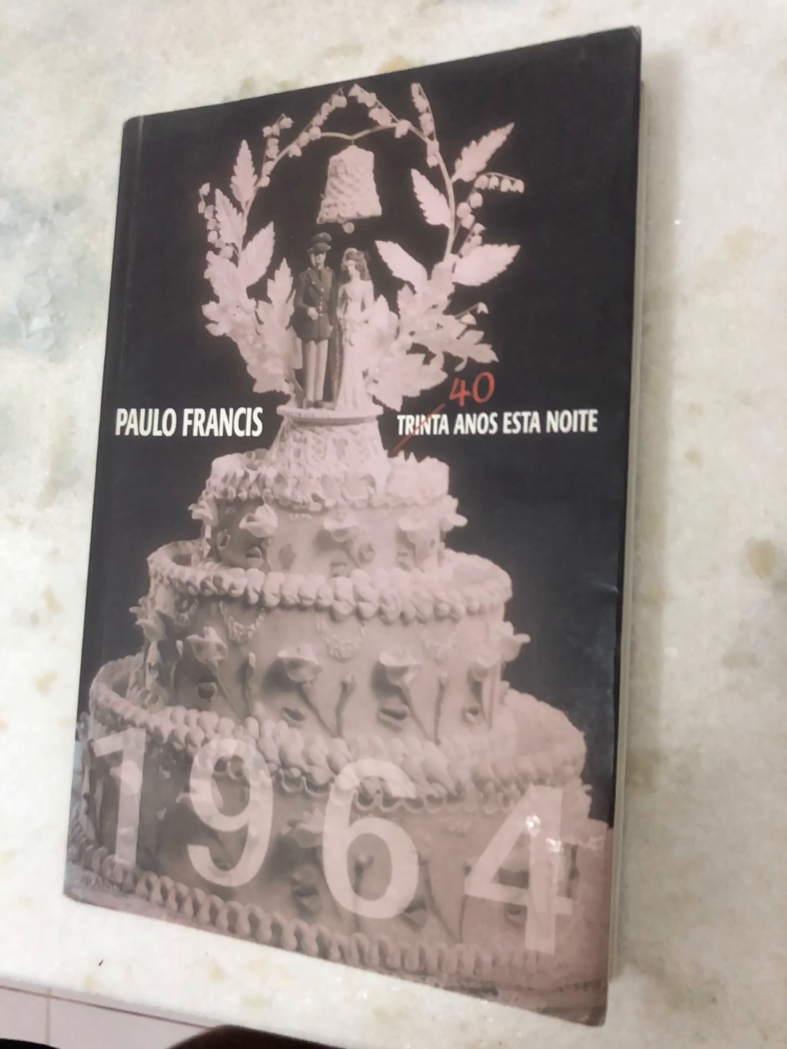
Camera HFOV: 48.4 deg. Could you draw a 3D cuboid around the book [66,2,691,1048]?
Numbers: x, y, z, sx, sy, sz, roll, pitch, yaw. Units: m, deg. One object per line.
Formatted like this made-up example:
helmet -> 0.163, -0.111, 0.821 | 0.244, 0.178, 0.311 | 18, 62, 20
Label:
book -> -0.008, -0.003, 0.204 | 0.140, 0.020, 0.203 | 2, 87, 23
